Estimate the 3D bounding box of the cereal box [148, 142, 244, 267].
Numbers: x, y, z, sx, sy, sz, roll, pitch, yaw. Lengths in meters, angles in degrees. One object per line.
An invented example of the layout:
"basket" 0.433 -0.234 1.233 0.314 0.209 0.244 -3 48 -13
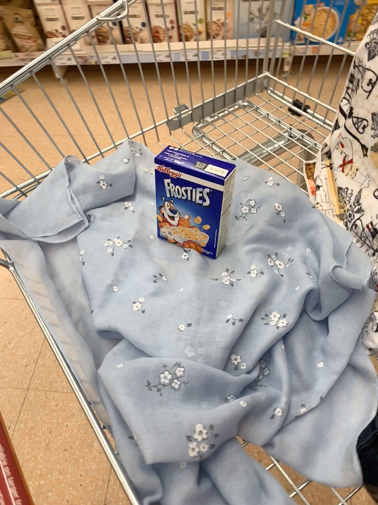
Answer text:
"cereal box" 0.008 -0.057 0.480 0.100 0.129 0.040 21 49 20
